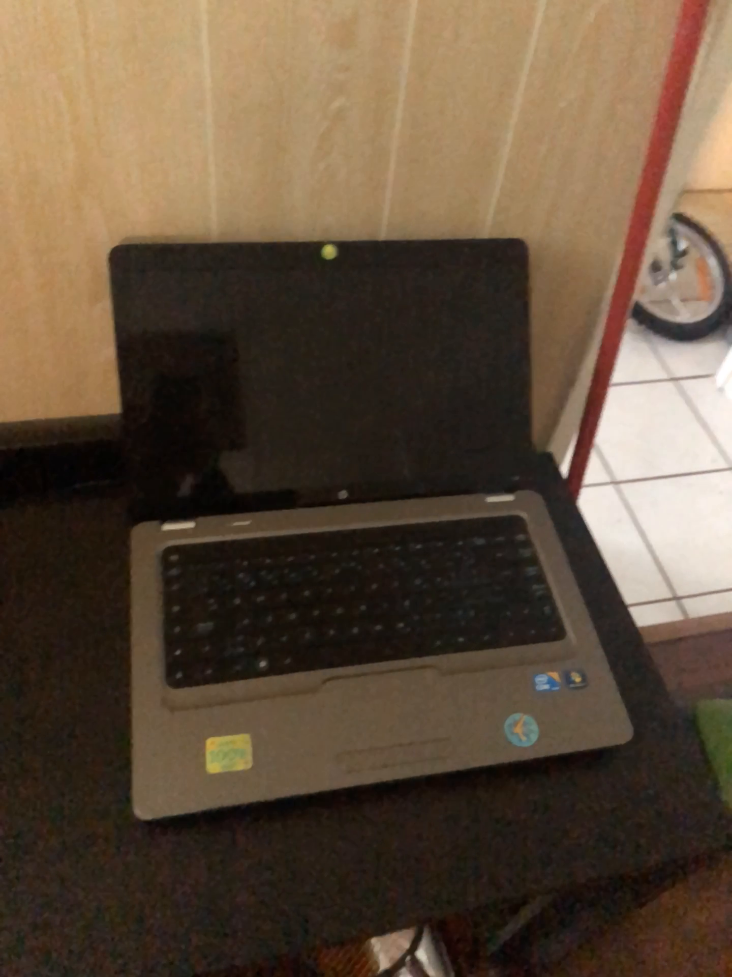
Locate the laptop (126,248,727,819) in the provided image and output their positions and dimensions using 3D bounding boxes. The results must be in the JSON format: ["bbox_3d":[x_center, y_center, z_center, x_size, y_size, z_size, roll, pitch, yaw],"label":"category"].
[{"bbox_3d":[0.003,0.003,0.646,0.356,0.166,0.404,-5,51,-10],"label":"laptop"}]
